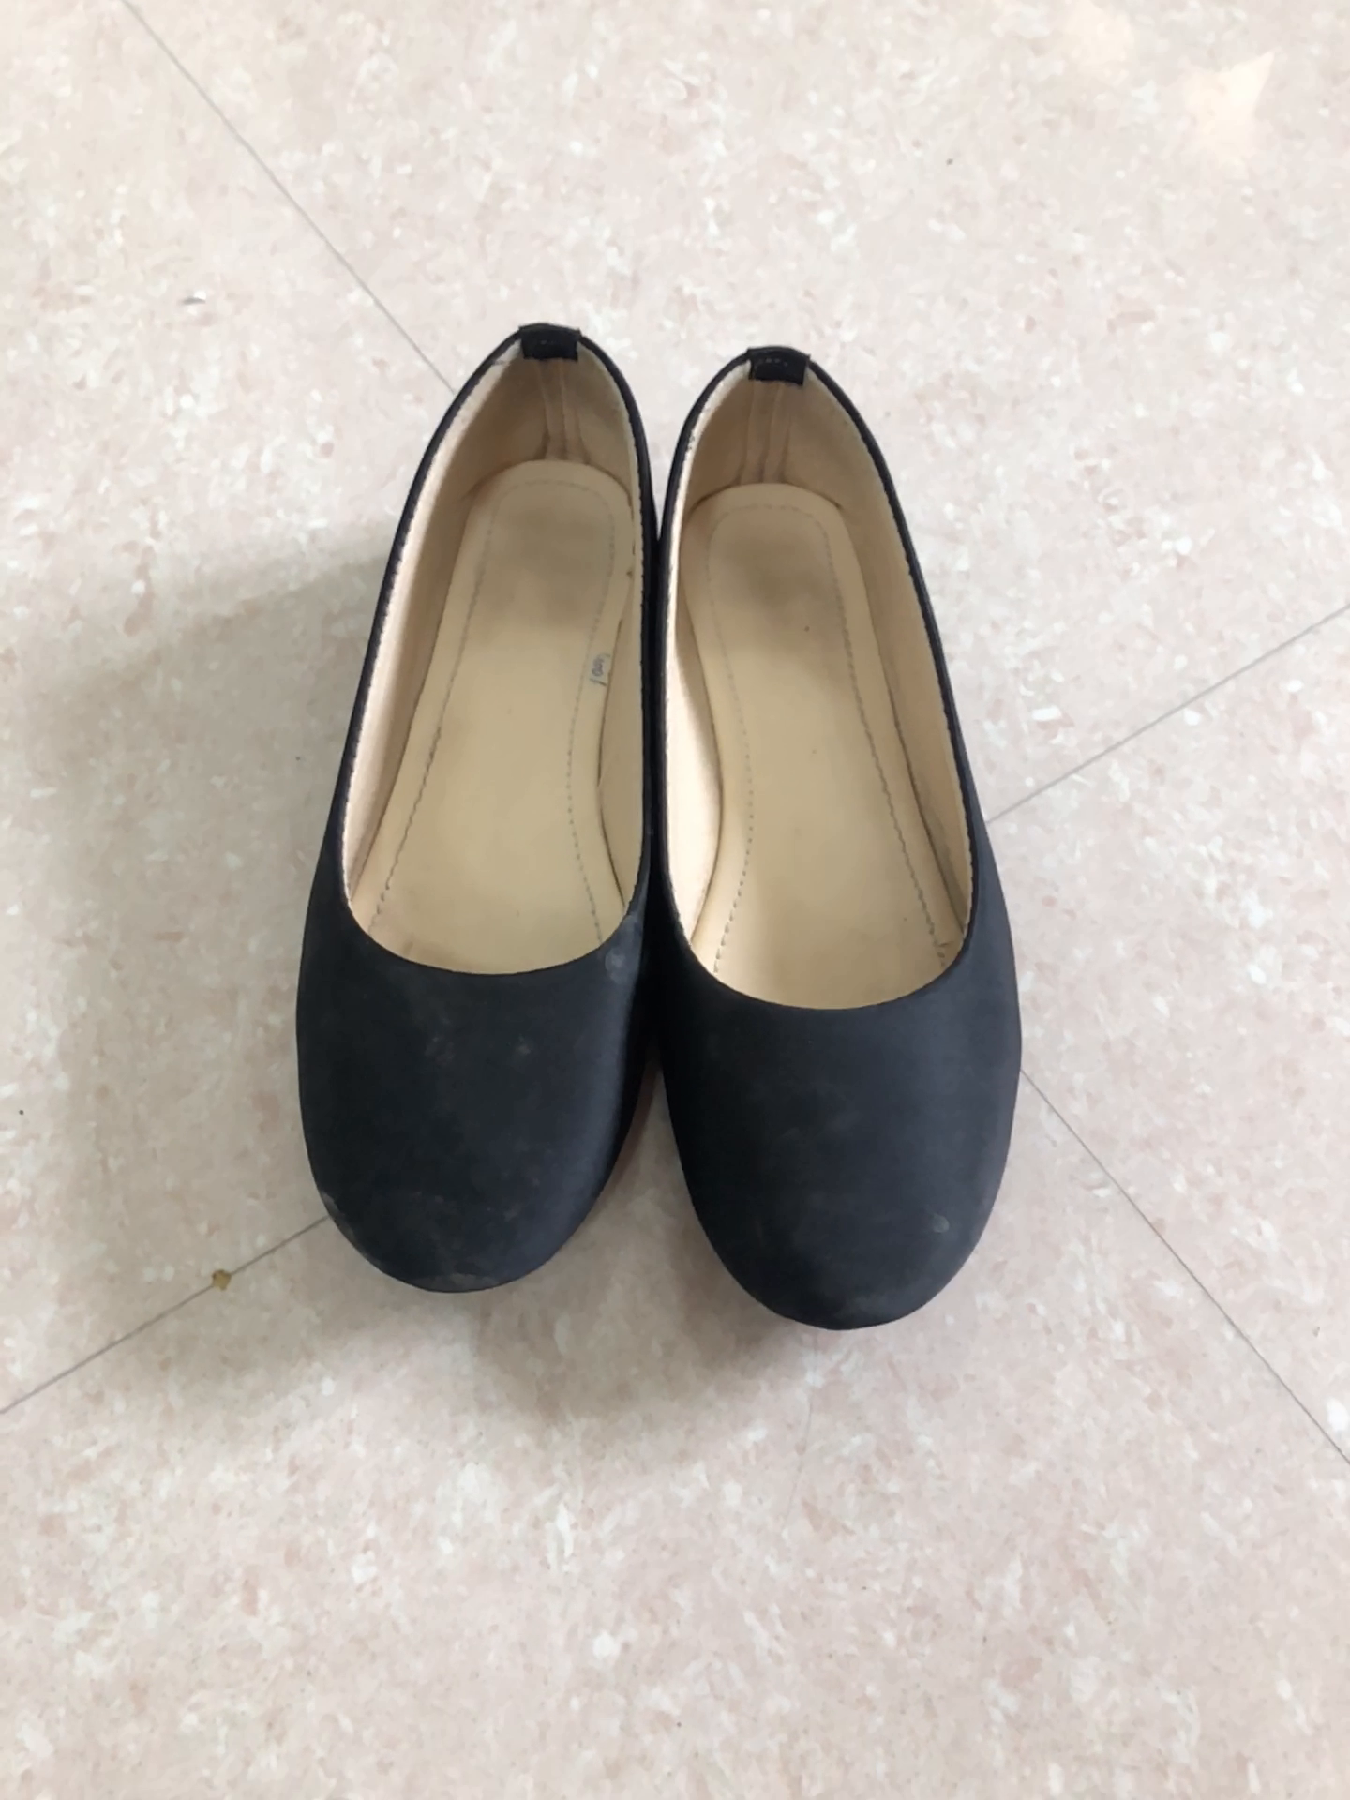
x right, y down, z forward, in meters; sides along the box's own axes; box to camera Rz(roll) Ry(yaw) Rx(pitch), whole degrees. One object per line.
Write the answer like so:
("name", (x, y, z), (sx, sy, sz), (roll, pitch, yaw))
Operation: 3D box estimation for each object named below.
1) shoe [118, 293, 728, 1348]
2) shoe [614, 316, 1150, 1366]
("shoe", (-0.043, -0.028, 0.354), (0.092, 0.075, 0.239), (4, 61, 2))
("shoe", (0.033, -0.023, 0.350), (0.092, 0.075, 0.239), (-1, 61, -1))
